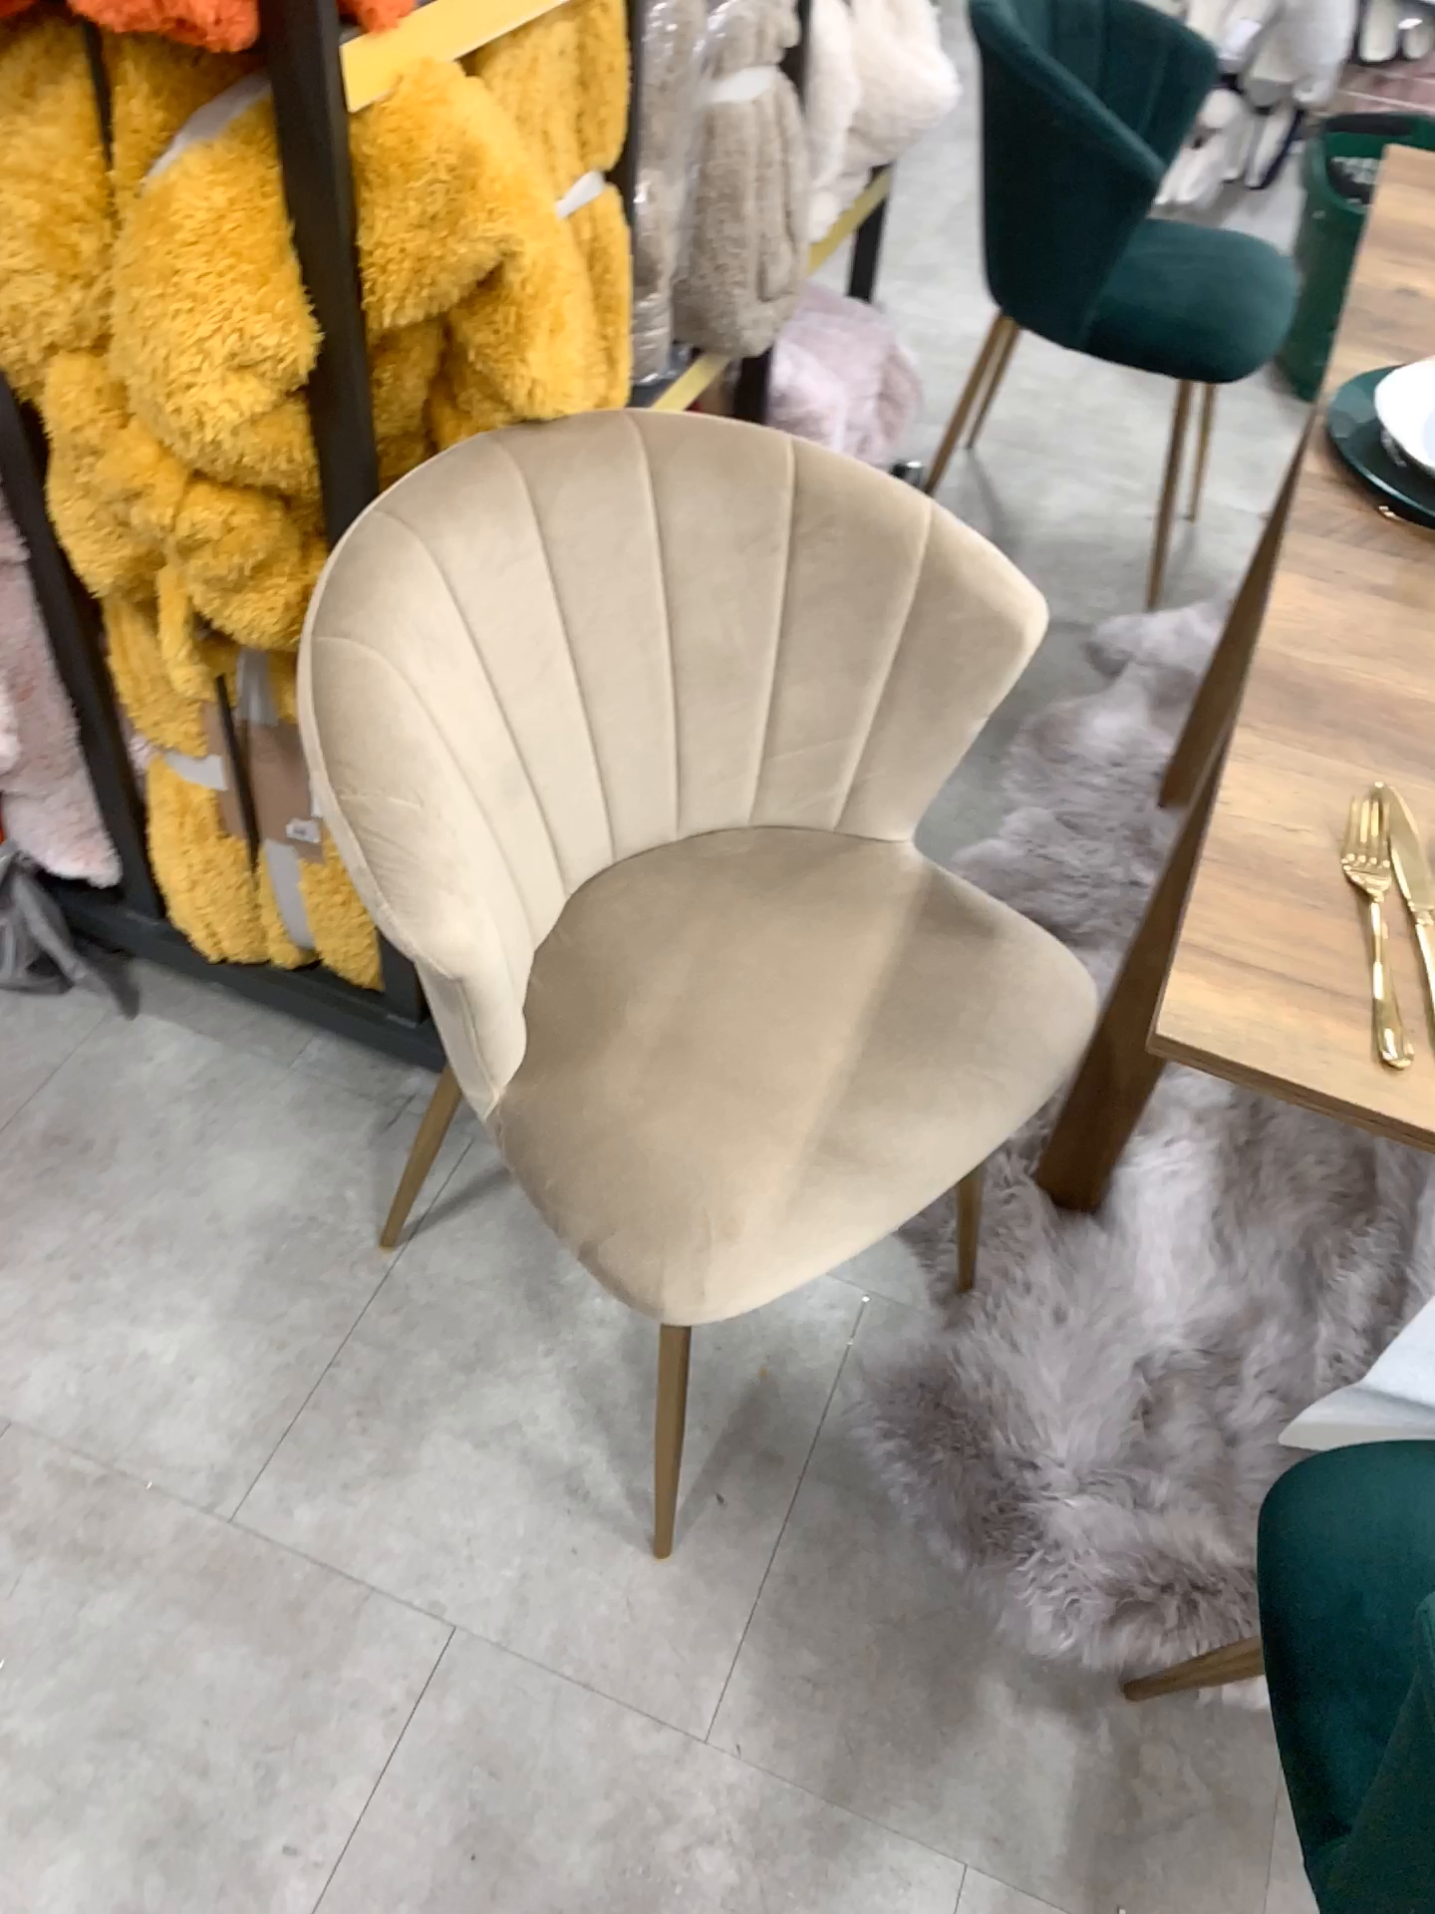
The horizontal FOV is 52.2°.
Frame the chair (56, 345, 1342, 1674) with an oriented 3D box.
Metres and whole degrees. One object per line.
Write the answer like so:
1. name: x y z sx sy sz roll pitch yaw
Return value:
1. chair: -0.036 0.025 1.151 0.564 0.666 0.575 -31 57 -30
